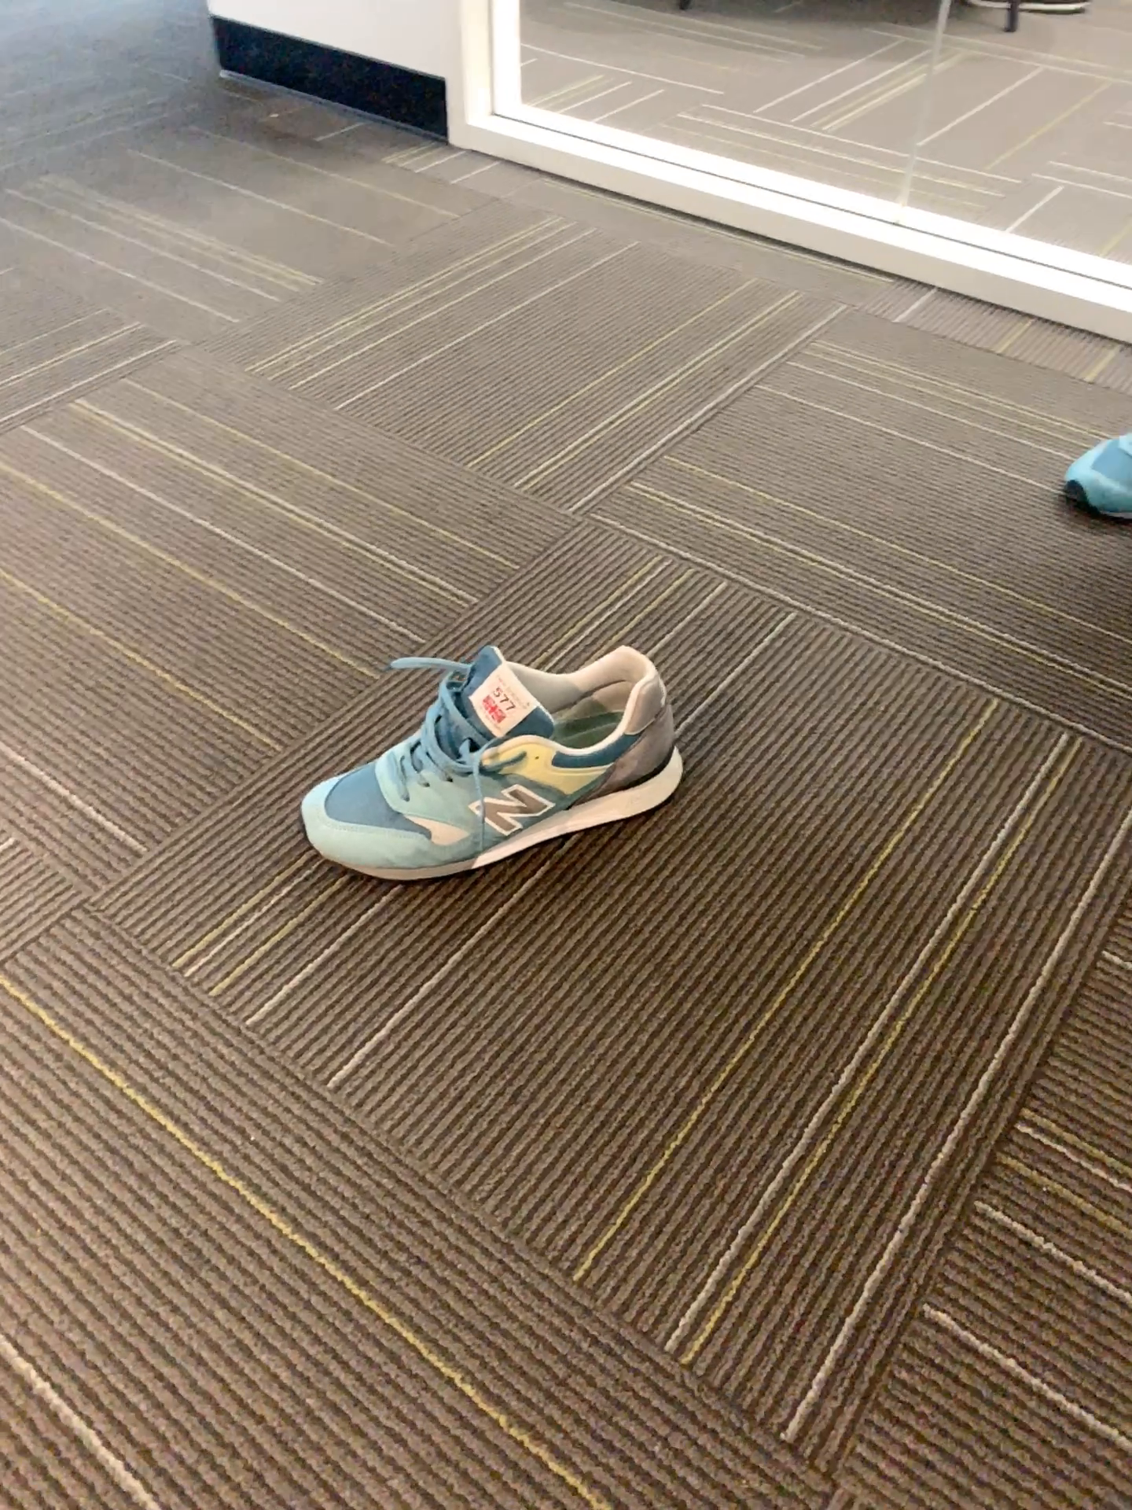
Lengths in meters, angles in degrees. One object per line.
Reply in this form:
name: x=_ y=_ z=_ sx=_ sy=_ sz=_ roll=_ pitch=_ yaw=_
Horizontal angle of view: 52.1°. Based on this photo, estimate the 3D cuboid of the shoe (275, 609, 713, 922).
shoe: x=-0.053 y=0.001 z=0.873 sx=0.290 sy=0.099 sz=0.131 roll=-17 pitch=48 yaw=-17

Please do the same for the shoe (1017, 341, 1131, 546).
shoe: x=0.632 y=-0.321 z=1.177 sx=0.290 sy=0.099 sz=0.131 roll=-17 pitch=48 yaw=-17
